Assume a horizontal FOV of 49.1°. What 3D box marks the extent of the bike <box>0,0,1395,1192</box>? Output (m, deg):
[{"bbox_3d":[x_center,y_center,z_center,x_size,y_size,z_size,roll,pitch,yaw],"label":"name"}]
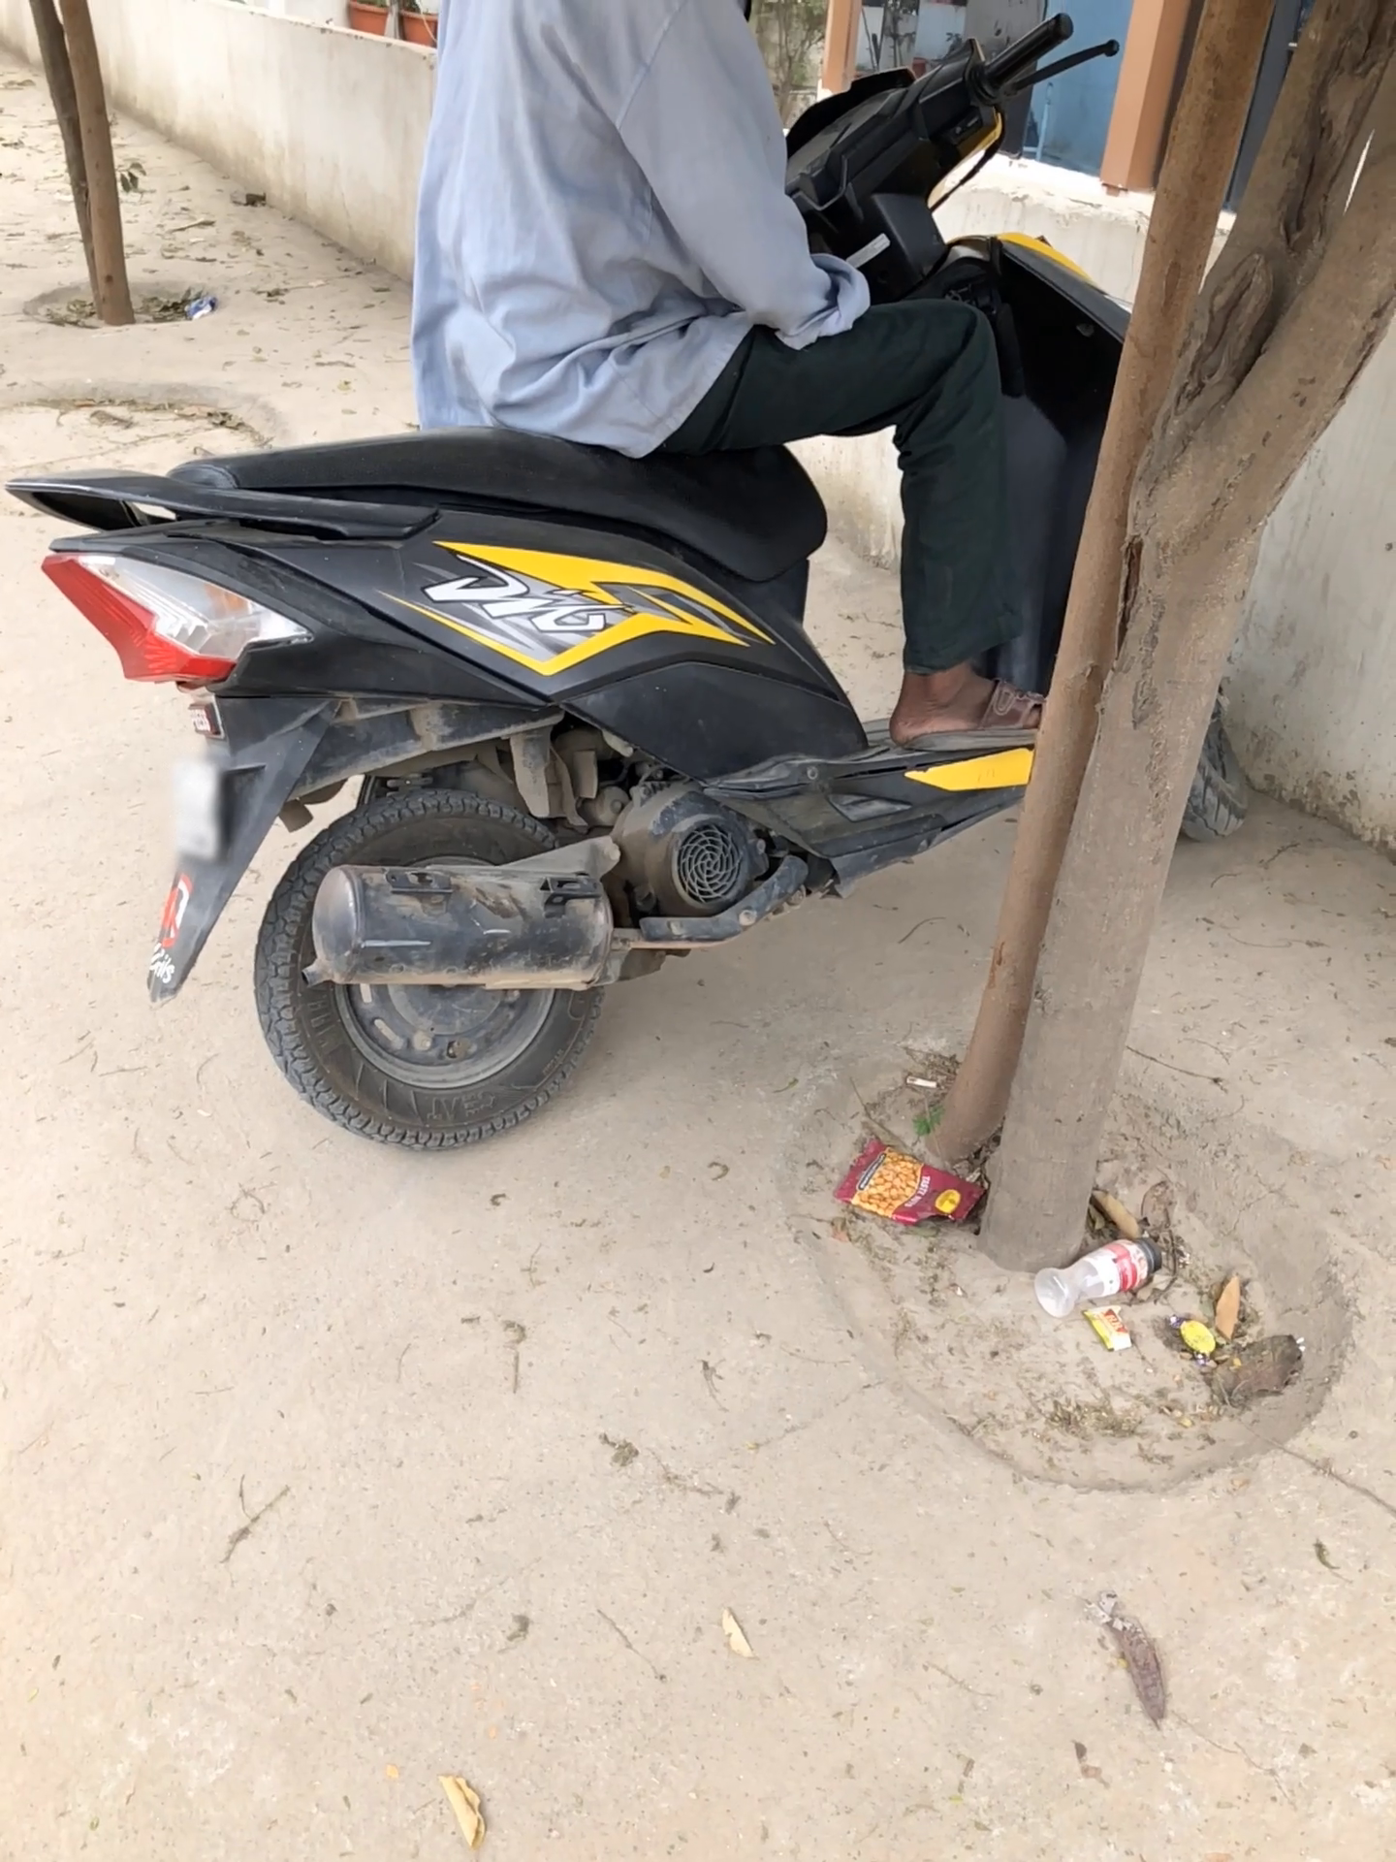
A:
[{"bbox_3d":[0.042,-0.616,2.007,1.578,1.144,0.635,-22,40,-32],"label":"bike"}]
